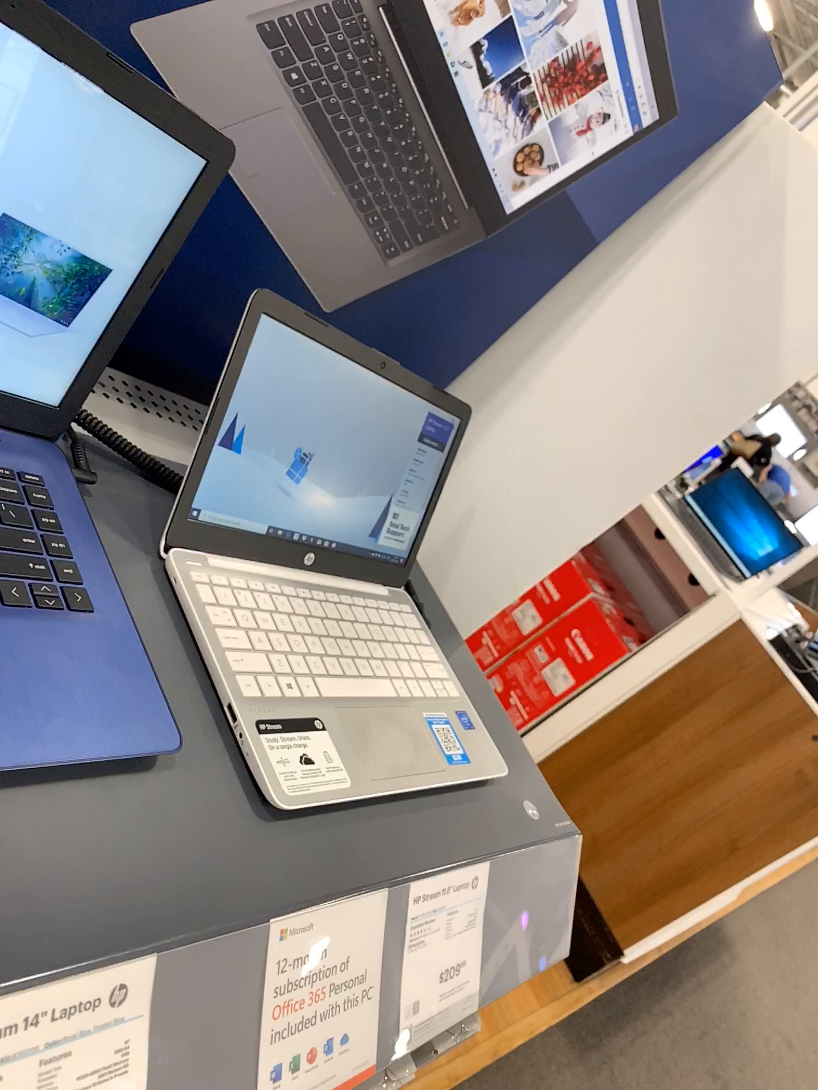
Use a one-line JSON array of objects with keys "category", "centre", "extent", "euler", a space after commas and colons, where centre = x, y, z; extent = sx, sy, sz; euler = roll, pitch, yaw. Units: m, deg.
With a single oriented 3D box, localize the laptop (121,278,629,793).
[{"category": "laptop", "centre": [-0.016, 0.003, 0.610], "extent": [0.267, 0.144, 0.274], "euler": [15, 39, -57]}]
